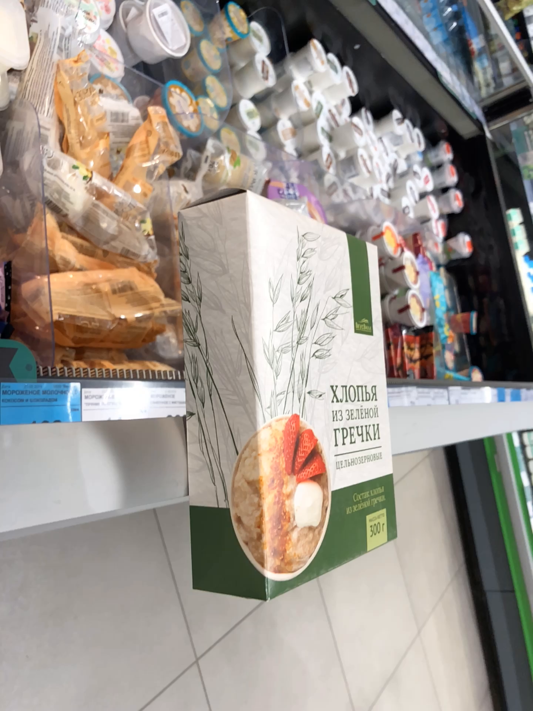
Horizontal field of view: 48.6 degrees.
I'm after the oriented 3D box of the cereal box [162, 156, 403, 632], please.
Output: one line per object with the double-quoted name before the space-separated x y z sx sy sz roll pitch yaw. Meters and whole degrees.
"cereal box" 0.018 0.017 0.325 0.151 0.050 0.200 2 84 -56
